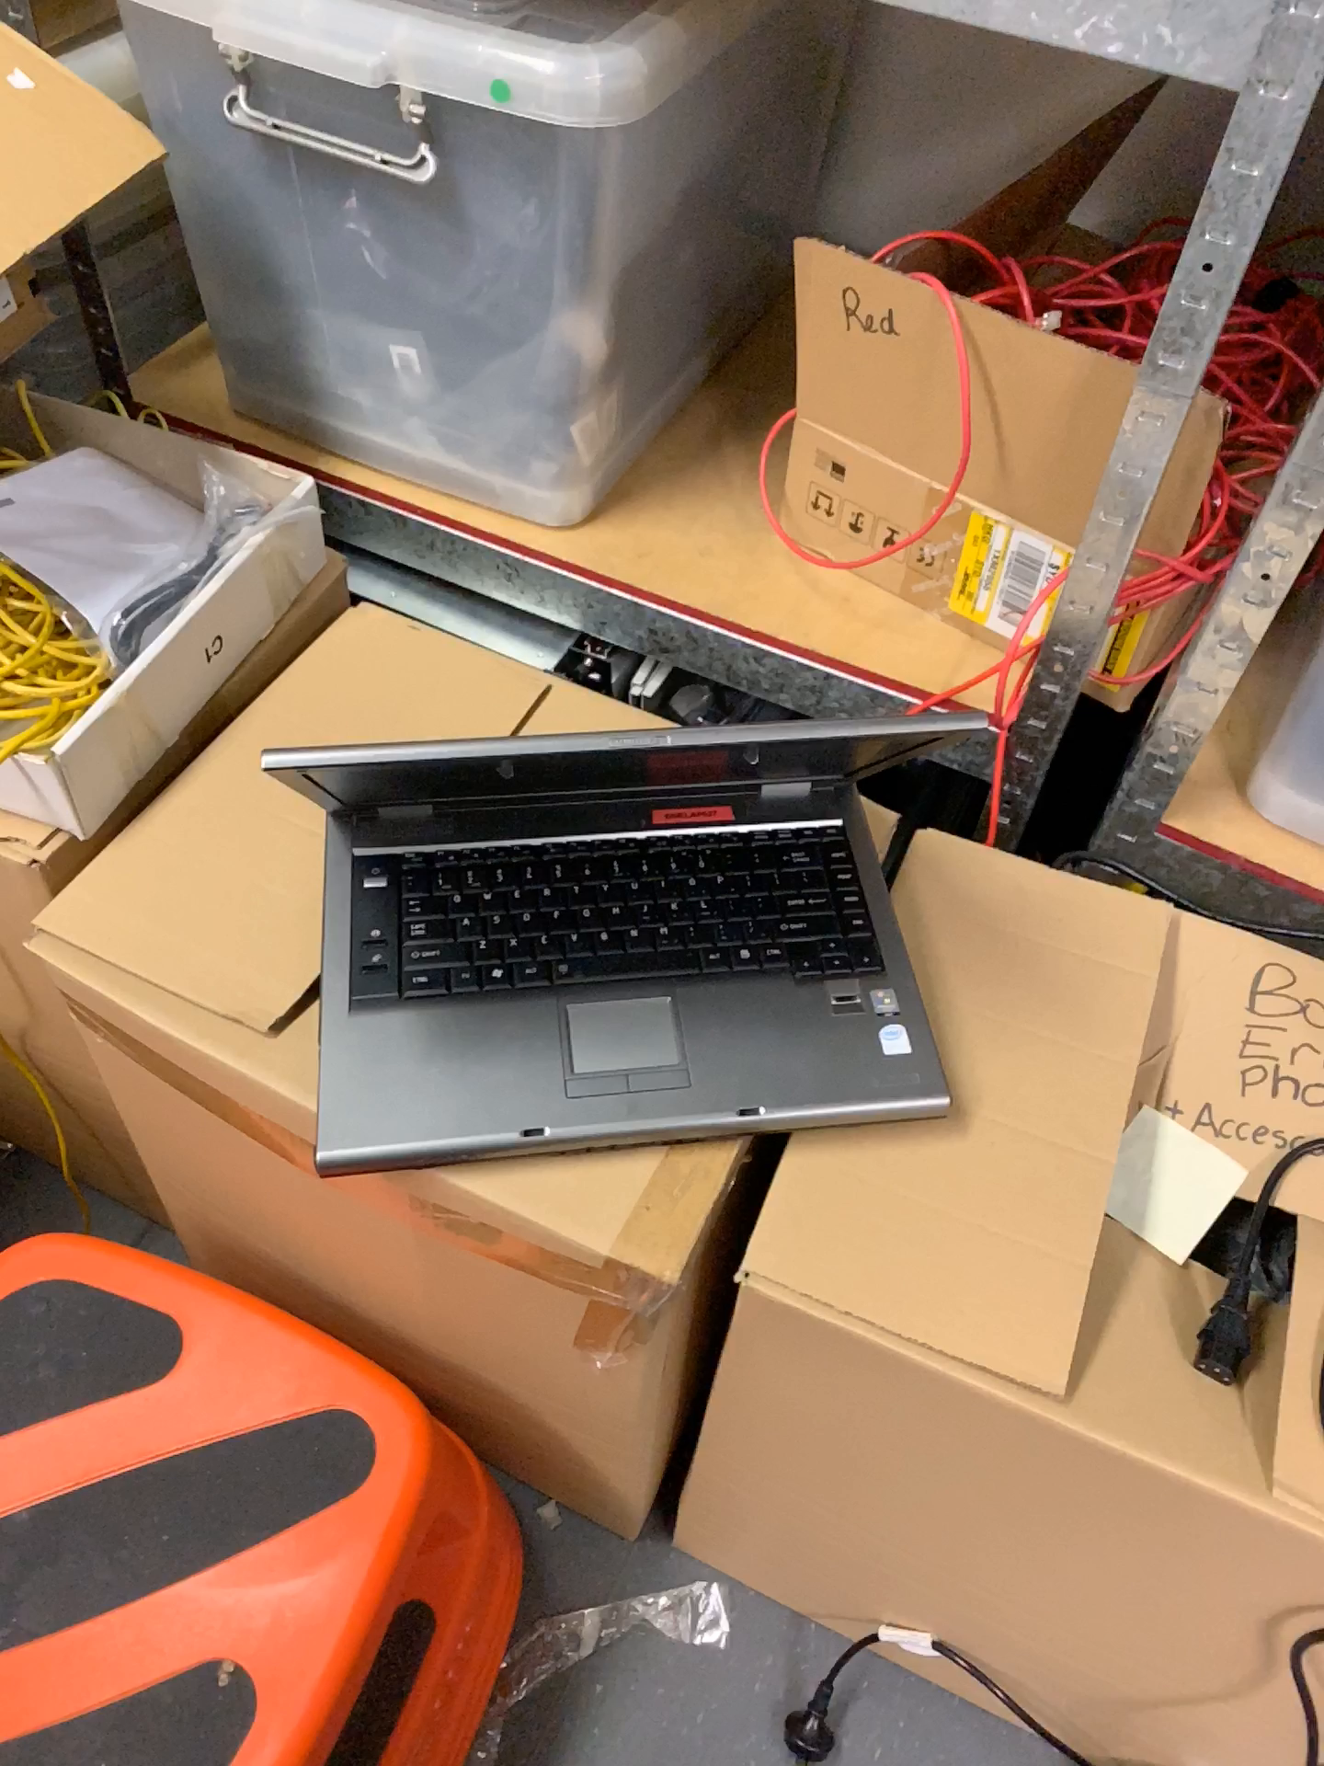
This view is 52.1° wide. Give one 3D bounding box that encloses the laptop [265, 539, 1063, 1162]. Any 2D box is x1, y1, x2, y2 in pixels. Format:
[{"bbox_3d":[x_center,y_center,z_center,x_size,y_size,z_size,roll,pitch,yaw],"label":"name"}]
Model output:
[{"bbox_3d":[-0.019,-0.022,0.750,0.352,0.203,0.254,-4,51,-7],"label":"laptop"}]
